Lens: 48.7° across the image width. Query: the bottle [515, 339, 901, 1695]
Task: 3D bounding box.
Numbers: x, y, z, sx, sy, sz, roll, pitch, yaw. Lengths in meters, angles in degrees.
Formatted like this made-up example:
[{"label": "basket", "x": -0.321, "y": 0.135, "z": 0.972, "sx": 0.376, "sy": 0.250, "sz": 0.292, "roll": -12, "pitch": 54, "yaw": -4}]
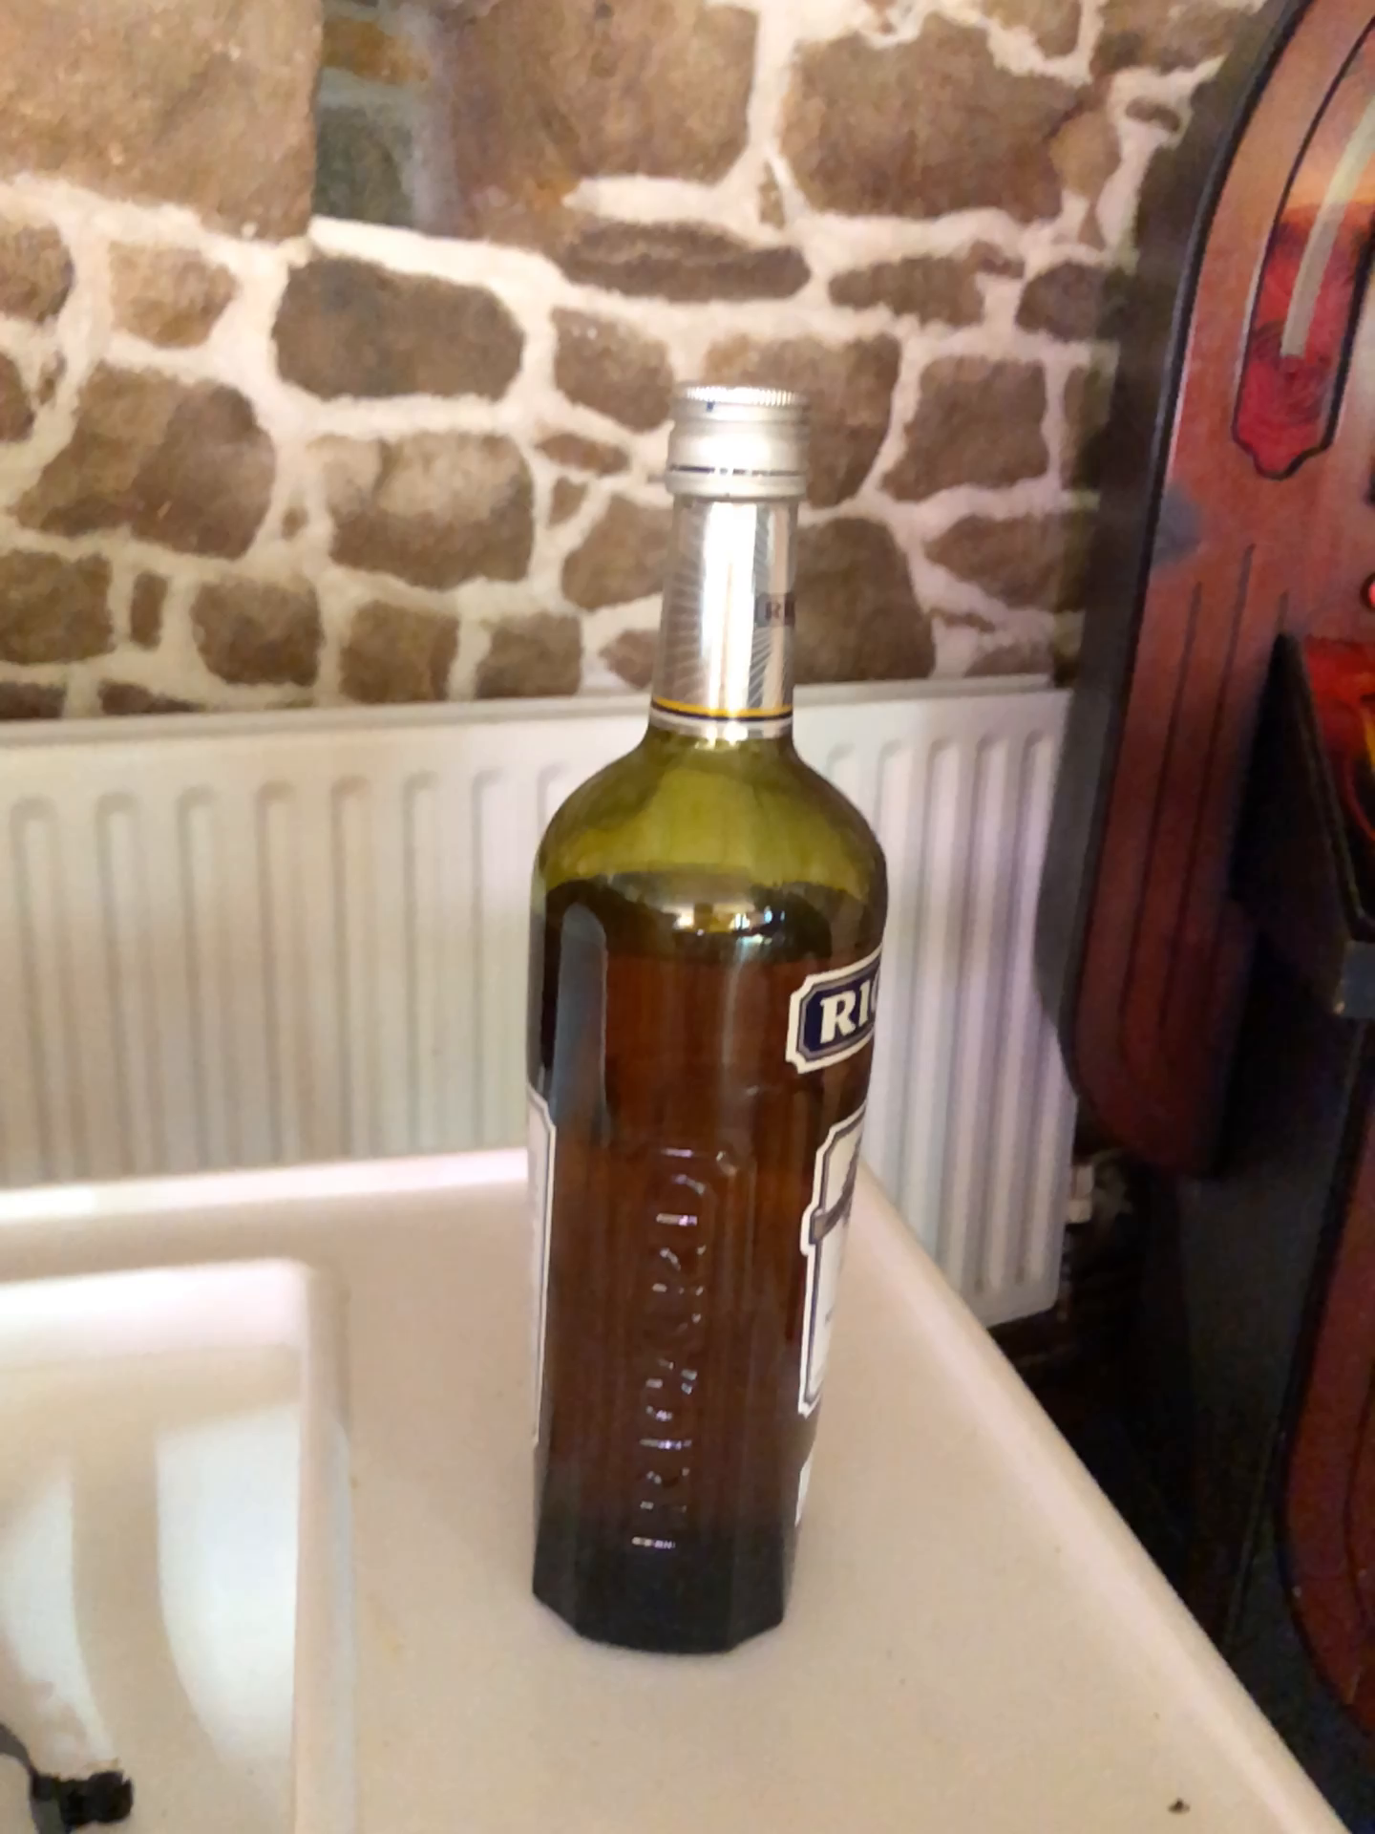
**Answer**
[{"label": "bottle", "x": 0.003, "y": 0.026, "z": 0.361, "sx": 0.070, "sy": 0.299, "sz": 0.090, "roll": 3, "pitch": 17, "yaw": 4}]
